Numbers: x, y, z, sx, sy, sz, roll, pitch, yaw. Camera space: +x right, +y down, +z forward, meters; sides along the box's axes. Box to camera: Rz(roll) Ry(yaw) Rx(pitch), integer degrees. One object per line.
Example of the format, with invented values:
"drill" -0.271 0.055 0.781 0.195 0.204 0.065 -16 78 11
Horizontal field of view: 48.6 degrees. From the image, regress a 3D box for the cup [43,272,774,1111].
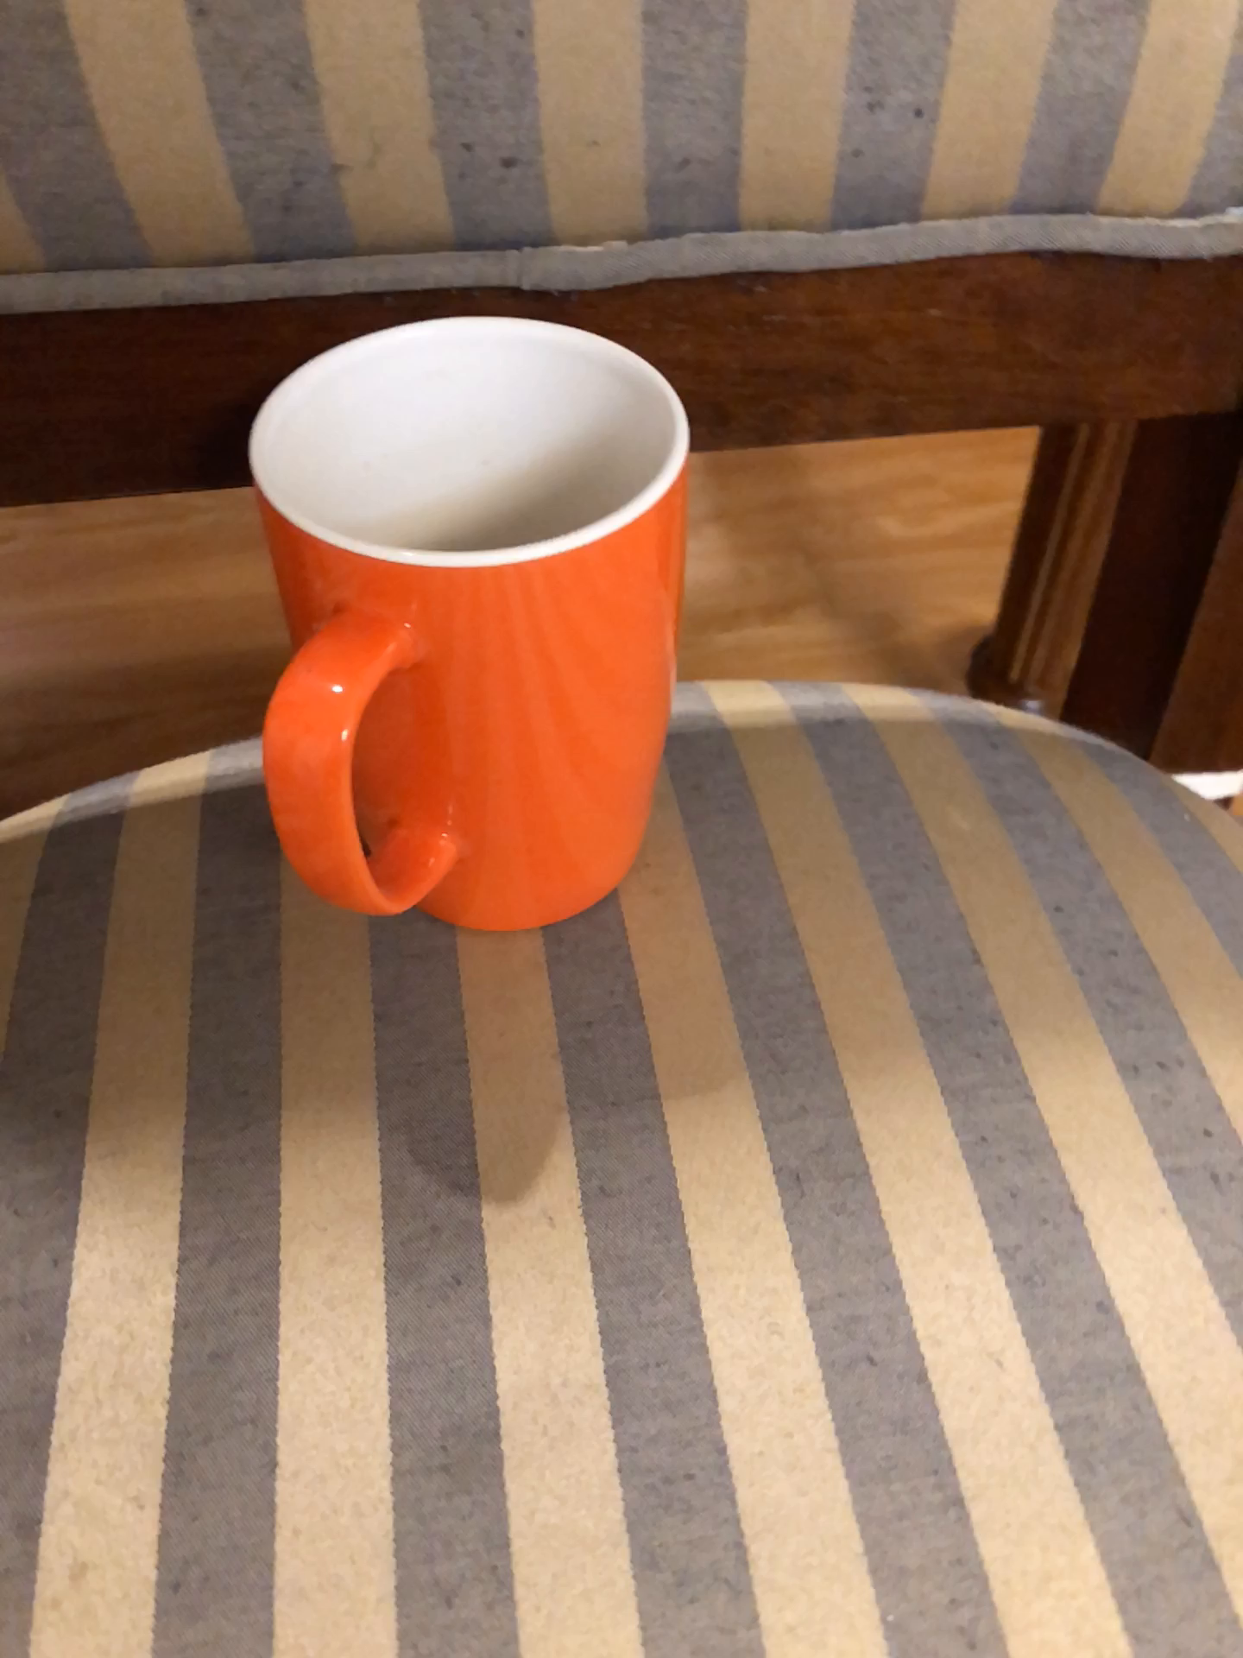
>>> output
"cup" -0.030 -0.030 0.278 0.090 0.099 0.121 12 50 9
